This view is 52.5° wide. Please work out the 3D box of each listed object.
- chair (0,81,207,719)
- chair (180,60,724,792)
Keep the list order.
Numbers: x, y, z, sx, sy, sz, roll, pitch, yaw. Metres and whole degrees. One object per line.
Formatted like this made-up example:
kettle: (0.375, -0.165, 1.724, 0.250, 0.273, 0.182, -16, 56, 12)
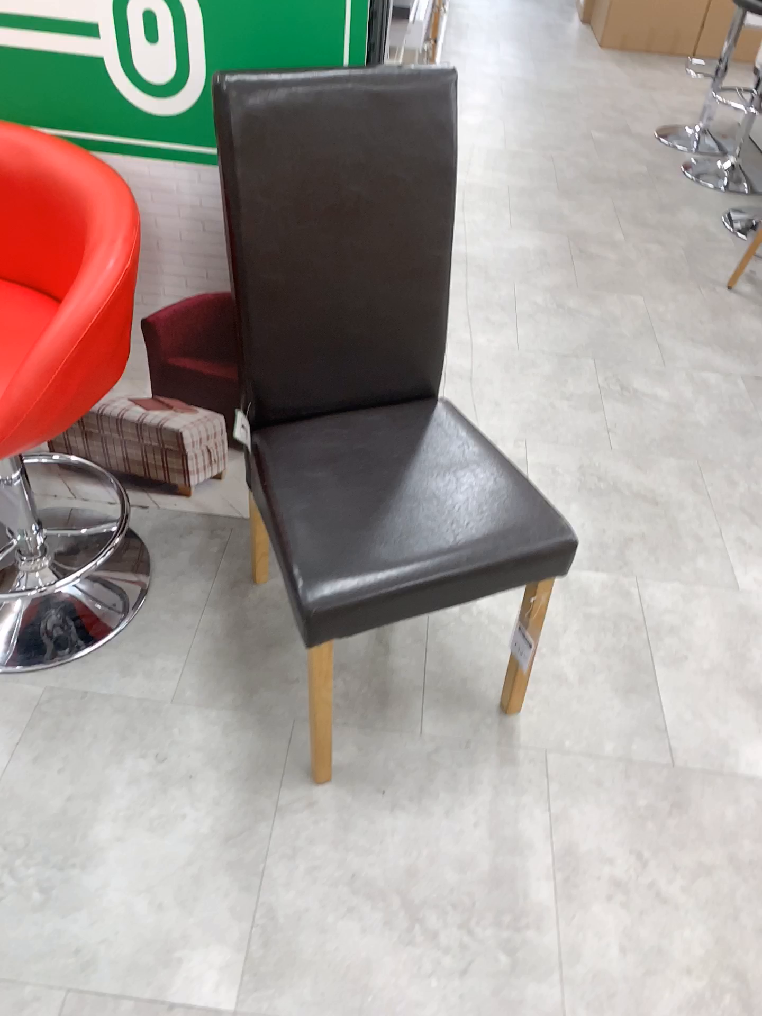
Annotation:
chair: (-0.602, -0.145, 1.197, 0.426, 0.774, 0.460, 17, 44, 12)
chair: (0.008, -0.103, 1.196, 0.426, 0.912, 0.560, -13, 46, -19)
